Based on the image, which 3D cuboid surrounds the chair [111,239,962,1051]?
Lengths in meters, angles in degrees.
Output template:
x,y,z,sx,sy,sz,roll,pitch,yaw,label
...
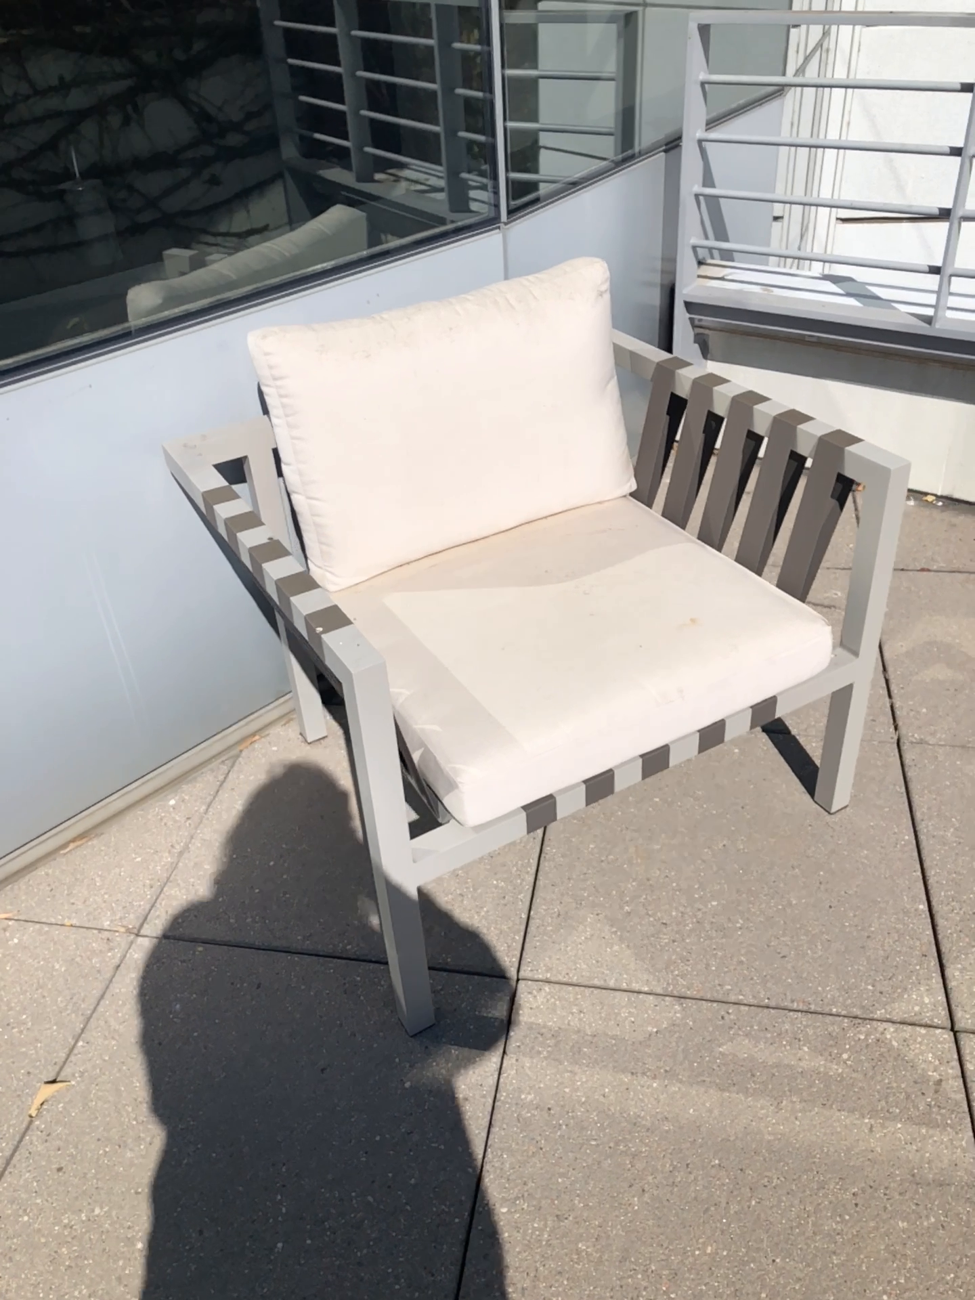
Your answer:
x,y,z,sx,sy,sz,roll,pitch,yaw,label
0.044,-0.101,1.675,0.870,0.736,0.784,-21,38,-23,chair
